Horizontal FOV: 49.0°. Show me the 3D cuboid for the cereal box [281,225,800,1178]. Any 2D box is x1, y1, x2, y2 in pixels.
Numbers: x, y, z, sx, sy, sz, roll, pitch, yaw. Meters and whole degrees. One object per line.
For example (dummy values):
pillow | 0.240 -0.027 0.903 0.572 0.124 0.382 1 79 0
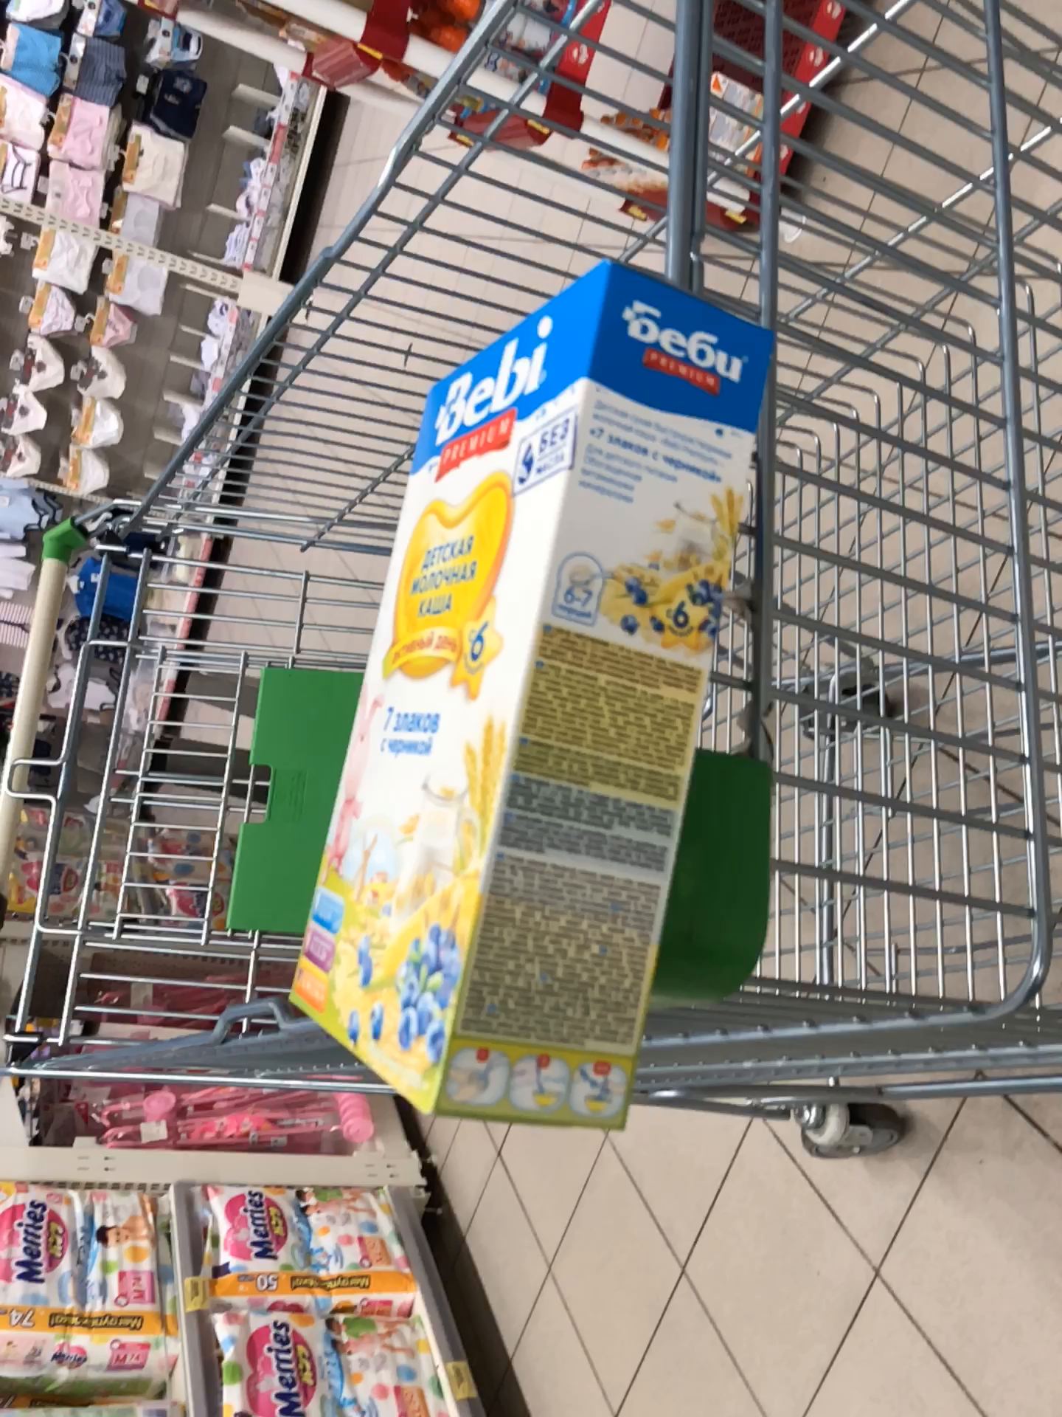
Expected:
cereal box | -0.007 -0.001 0.328 0.141 0.050 0.210 -2 75 65
